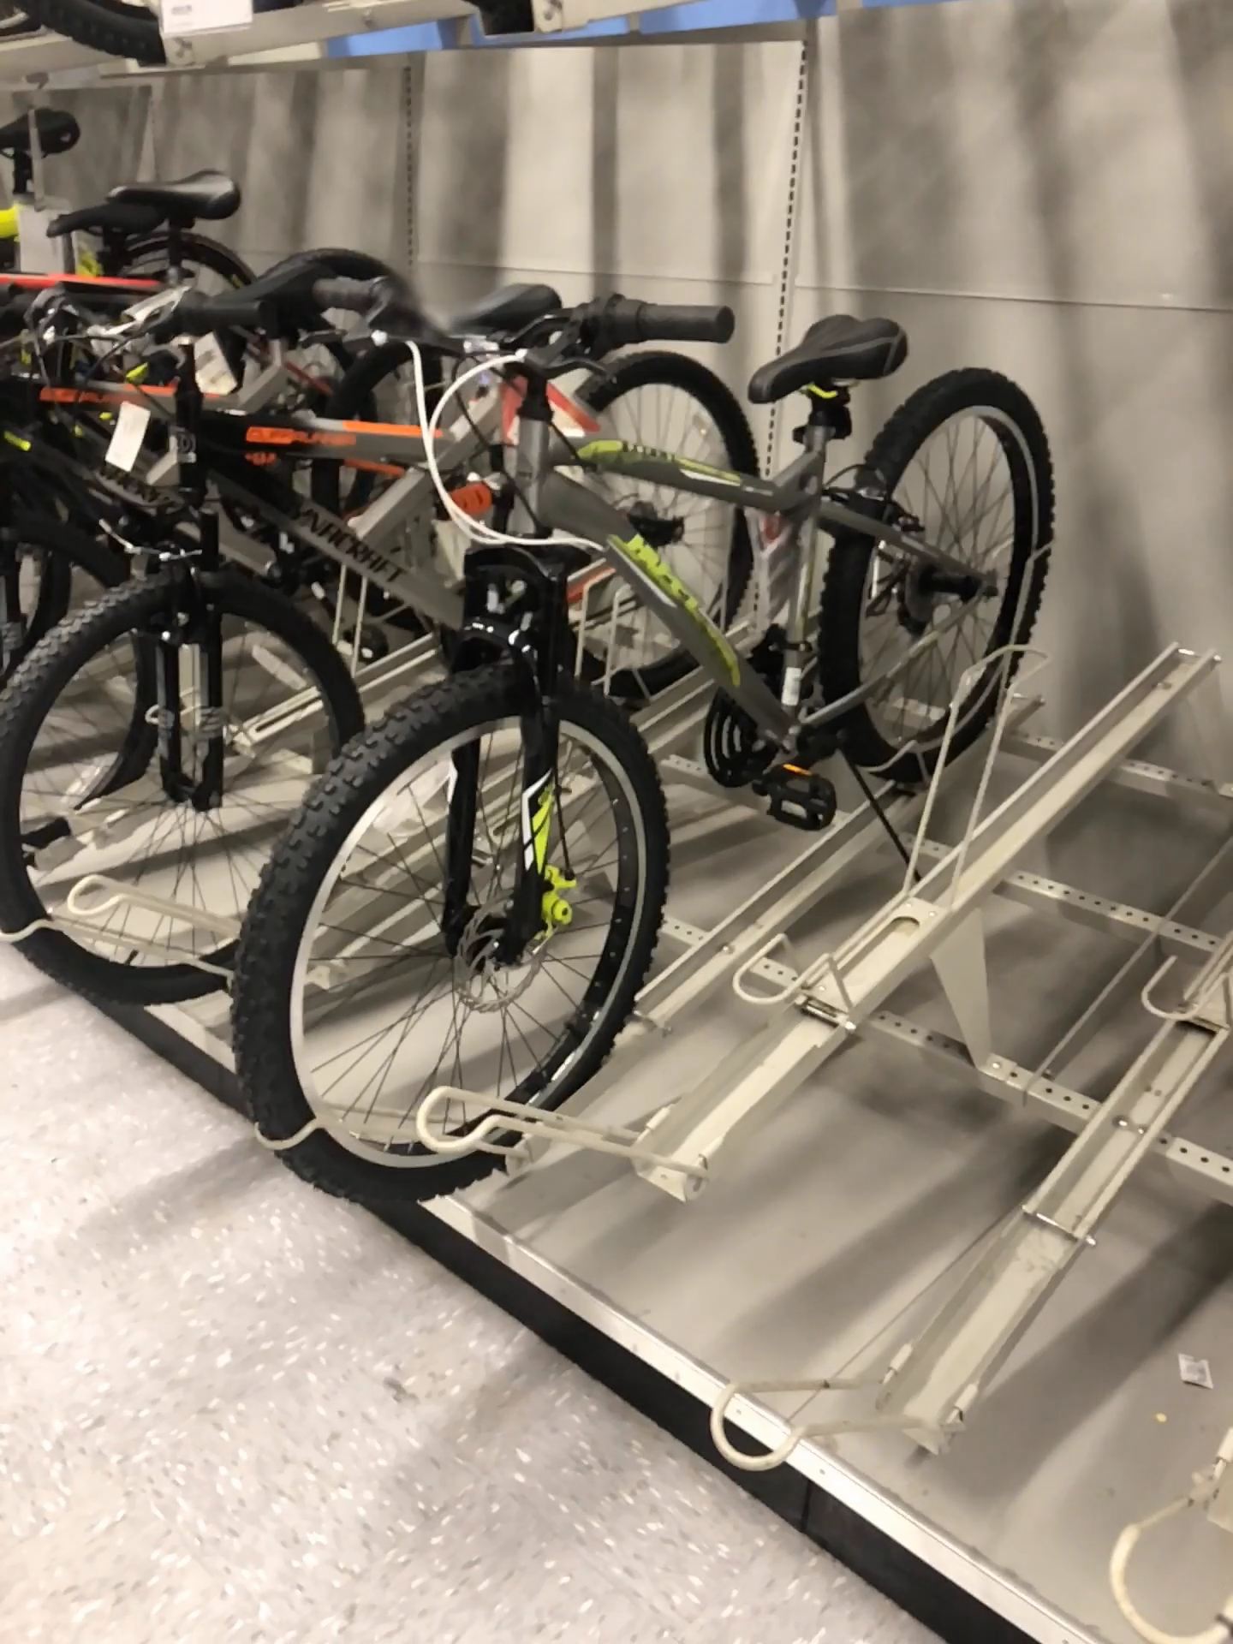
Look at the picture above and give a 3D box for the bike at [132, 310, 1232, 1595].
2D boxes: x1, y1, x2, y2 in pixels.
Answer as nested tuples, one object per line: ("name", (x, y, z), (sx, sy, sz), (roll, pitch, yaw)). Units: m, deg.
("bike", (0.247, -0.083, 1.892), (0.609, 0.729, 1.721), (21, 40, 39))
